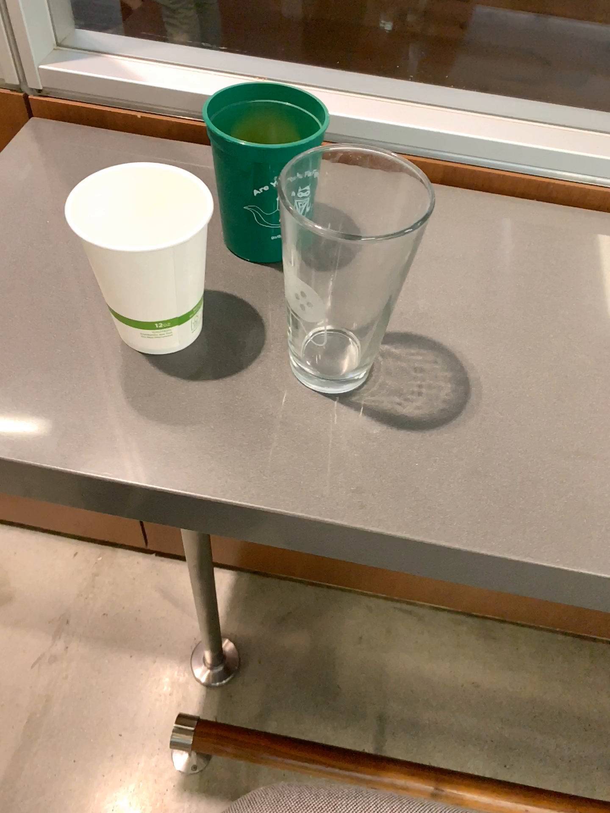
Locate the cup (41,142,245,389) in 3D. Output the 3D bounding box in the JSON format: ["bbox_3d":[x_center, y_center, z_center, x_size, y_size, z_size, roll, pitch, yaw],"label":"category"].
[{"bbox_3d":[-0.103,-0.095,0.423,0.090,0.110,0.090,3,52,-3],"label":"cup"}]

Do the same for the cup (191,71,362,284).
[{"bbox_3d":[-0.025,-0.177,0.487,0.090,0.110,0.090,3,52,-3],"label":"cup"}]

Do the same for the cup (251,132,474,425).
[{"bbox_3d":[0.025,-0.077,0.396,0.090,0.139,0.090,3,52,-3],"label":"cup"}]
